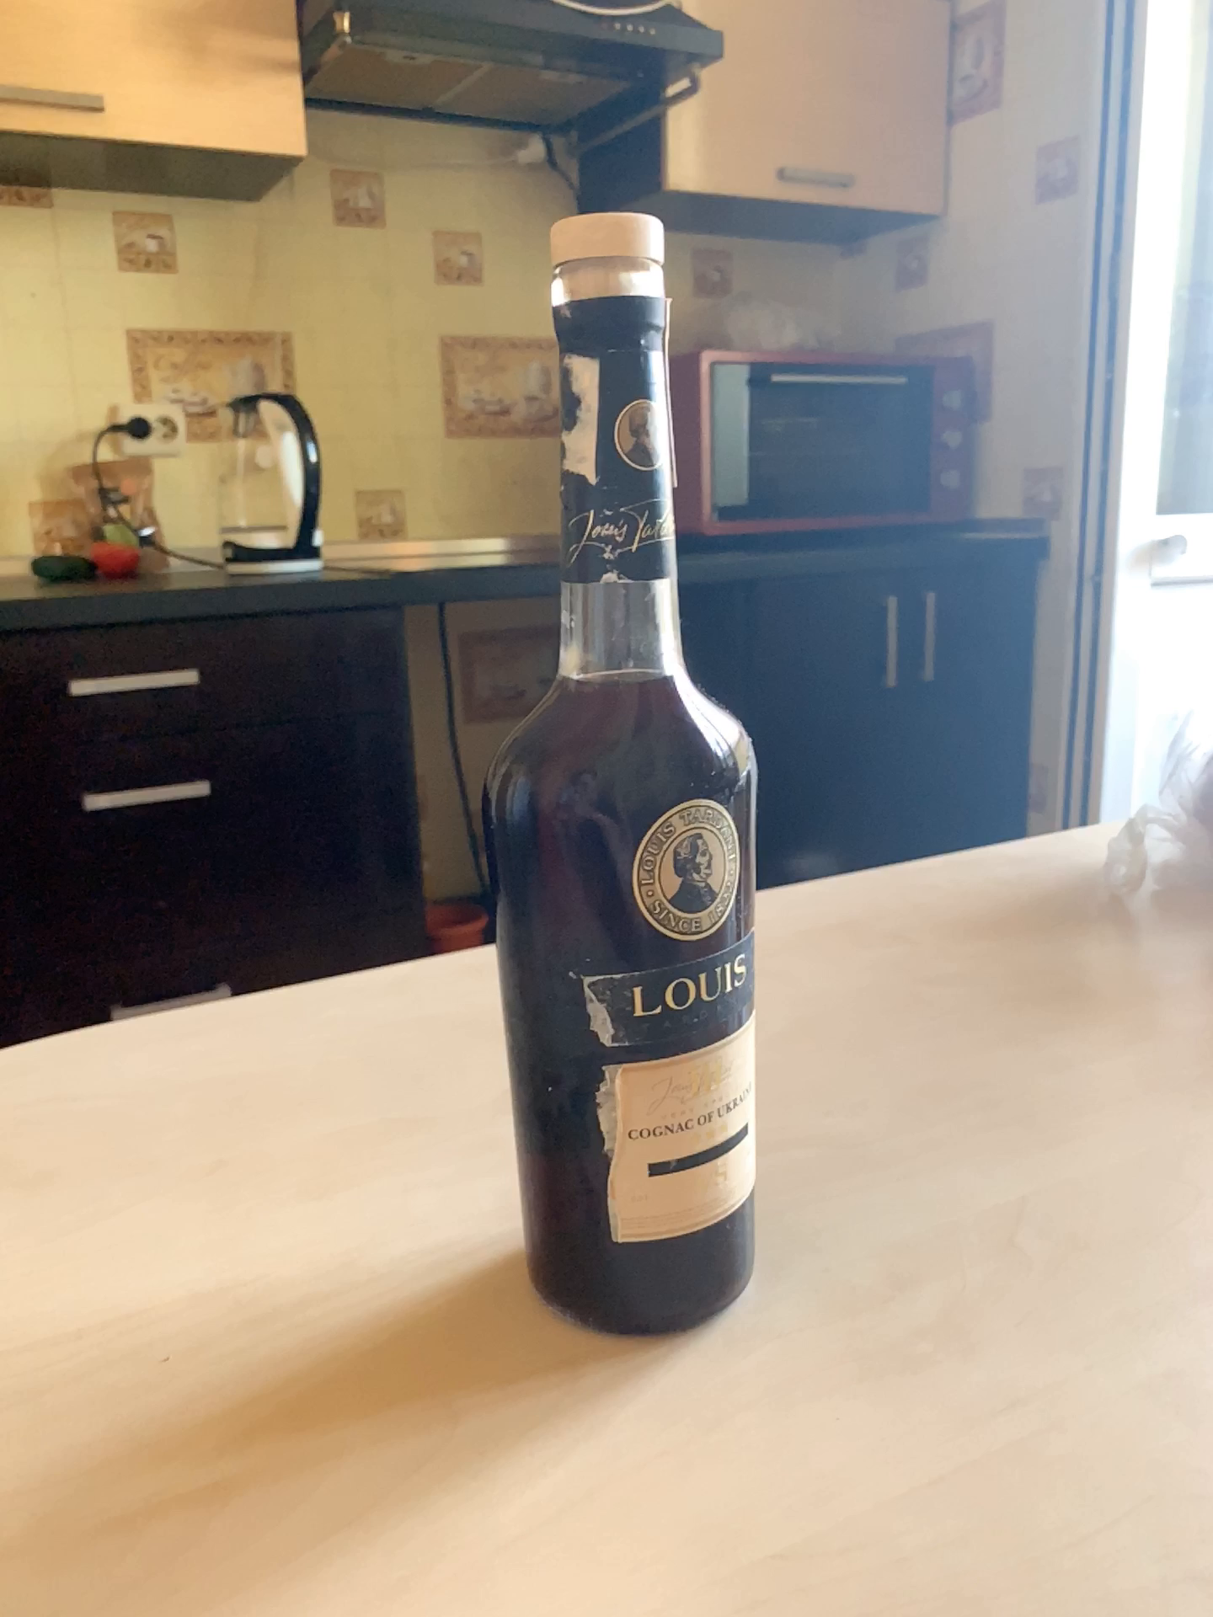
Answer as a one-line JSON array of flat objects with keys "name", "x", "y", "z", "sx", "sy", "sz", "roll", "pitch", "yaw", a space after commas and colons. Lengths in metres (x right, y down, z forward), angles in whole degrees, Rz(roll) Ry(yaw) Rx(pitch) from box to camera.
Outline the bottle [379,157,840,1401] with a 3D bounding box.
[{"name": "bottle", "x": 0.004, "y": -0.004, "z": 0.340, "sx": 0.080, "sy": 0.289, "sz": 0.080, "roll": -2, "pitch": 13, "yaw": 0}]
